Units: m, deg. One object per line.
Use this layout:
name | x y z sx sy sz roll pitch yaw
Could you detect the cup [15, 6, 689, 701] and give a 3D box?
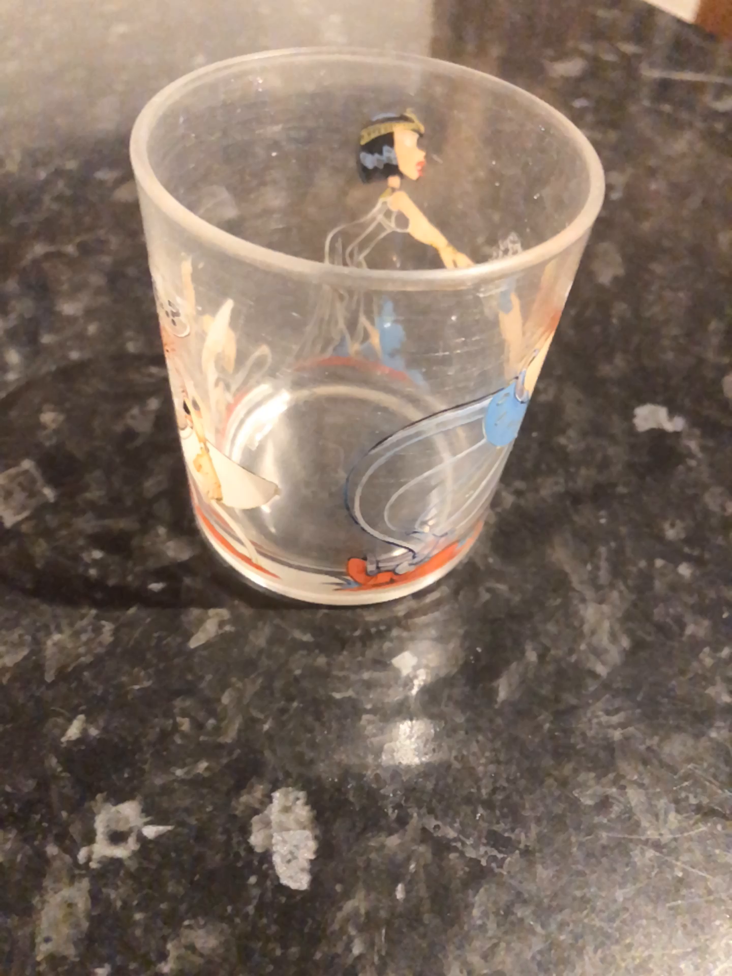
cup | 0.003 -0.027 0.156 0.080 0.080 0.080 3 48 -3
